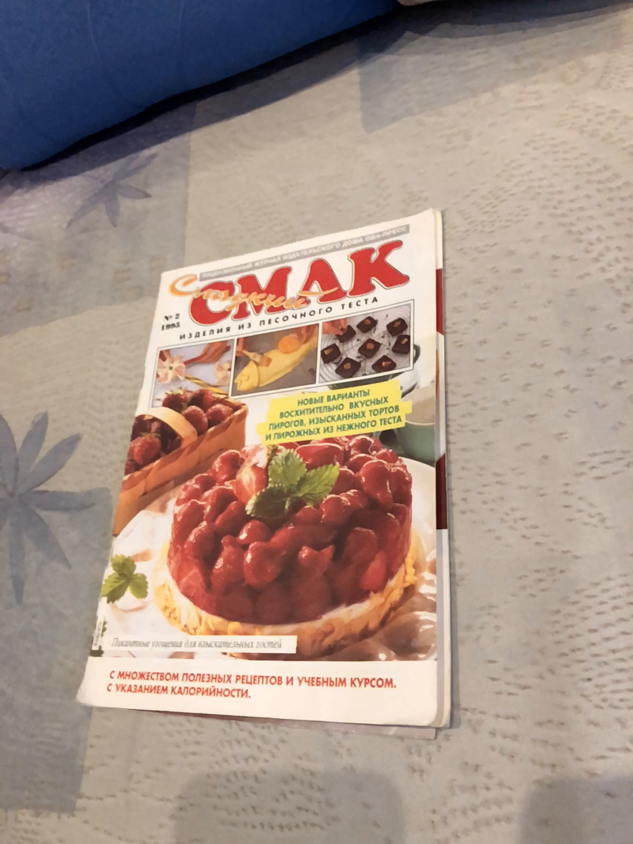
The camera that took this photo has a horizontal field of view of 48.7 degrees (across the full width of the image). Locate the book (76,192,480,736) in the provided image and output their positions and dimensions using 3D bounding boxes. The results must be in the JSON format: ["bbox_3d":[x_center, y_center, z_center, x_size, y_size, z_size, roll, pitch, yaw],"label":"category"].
[{"bbox_3d":[-0.016,0.012,0.335,0.177,0.020,0.241,-7,64,24],"label":"book"}]
